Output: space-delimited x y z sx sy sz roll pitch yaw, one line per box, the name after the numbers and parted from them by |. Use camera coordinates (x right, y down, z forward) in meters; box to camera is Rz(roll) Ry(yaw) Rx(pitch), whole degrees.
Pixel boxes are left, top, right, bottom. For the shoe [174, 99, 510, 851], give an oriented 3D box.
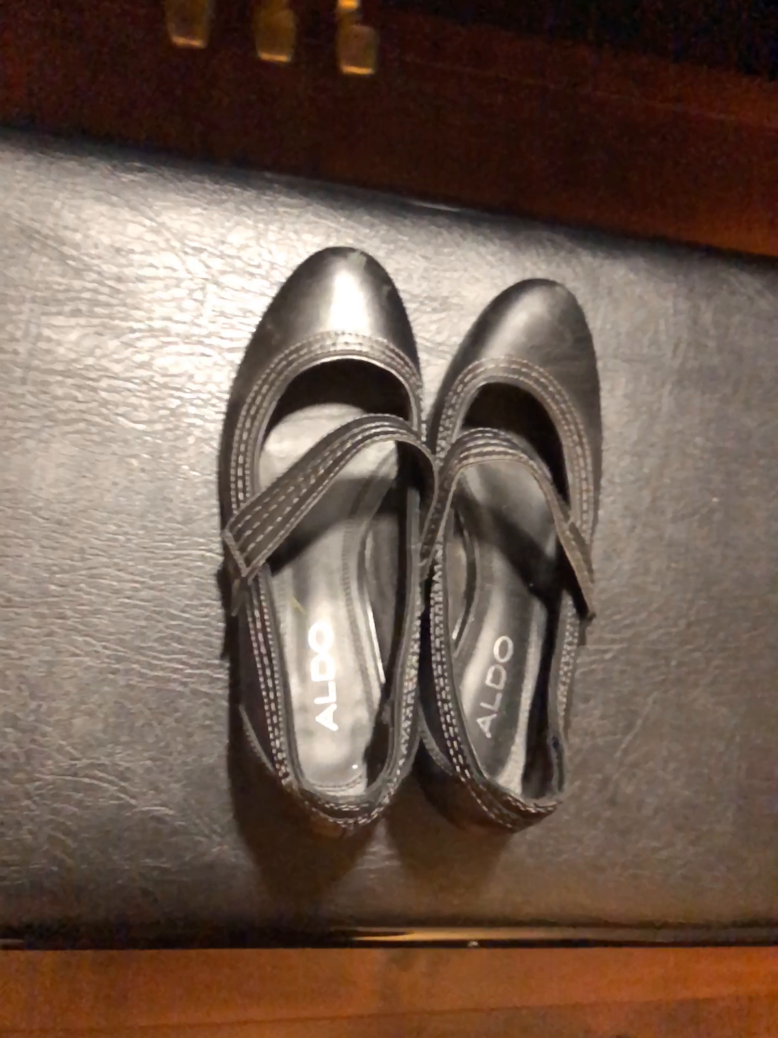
-0.021 -0.011 0.333 0.100 0.110 0.240 4 81 -11 | shoe

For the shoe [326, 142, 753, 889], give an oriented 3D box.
0.055 0.001 0.346 0.100 0.110 0.240 13 79 -10 | shoe
